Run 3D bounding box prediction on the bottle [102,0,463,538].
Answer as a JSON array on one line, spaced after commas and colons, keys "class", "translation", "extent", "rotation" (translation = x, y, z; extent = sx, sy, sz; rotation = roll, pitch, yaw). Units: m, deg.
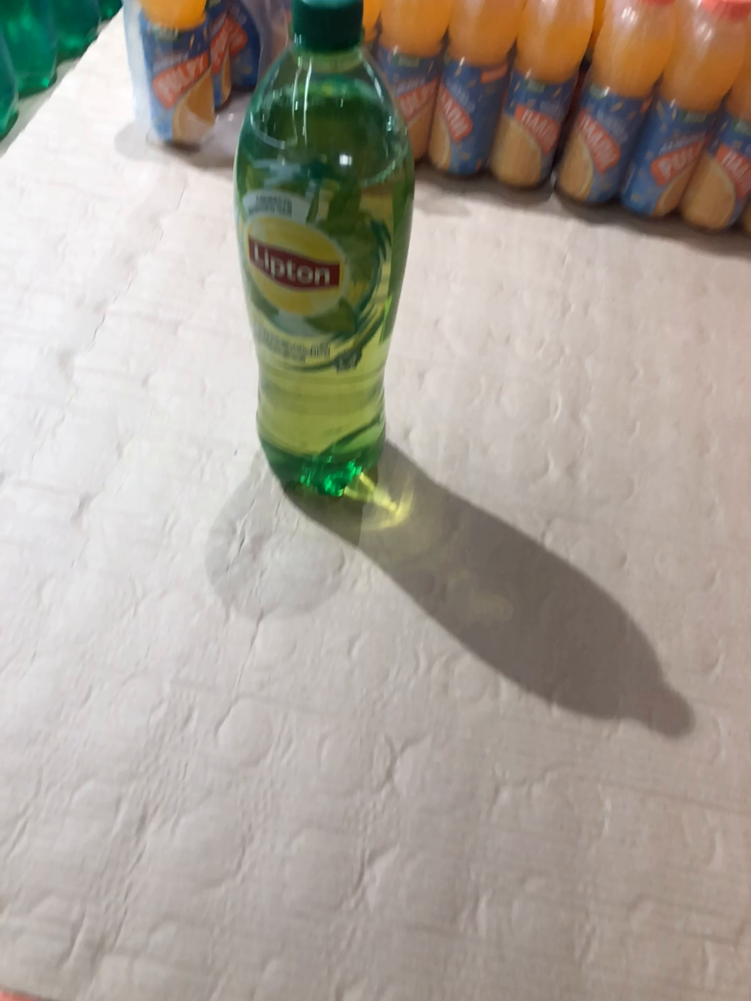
[{"class": "bottle", "translation": [-0.043, -0.117, 0.461], "extent": [0.120, 0.288, 0.121], "rotation": [3, 56, -4]}]
